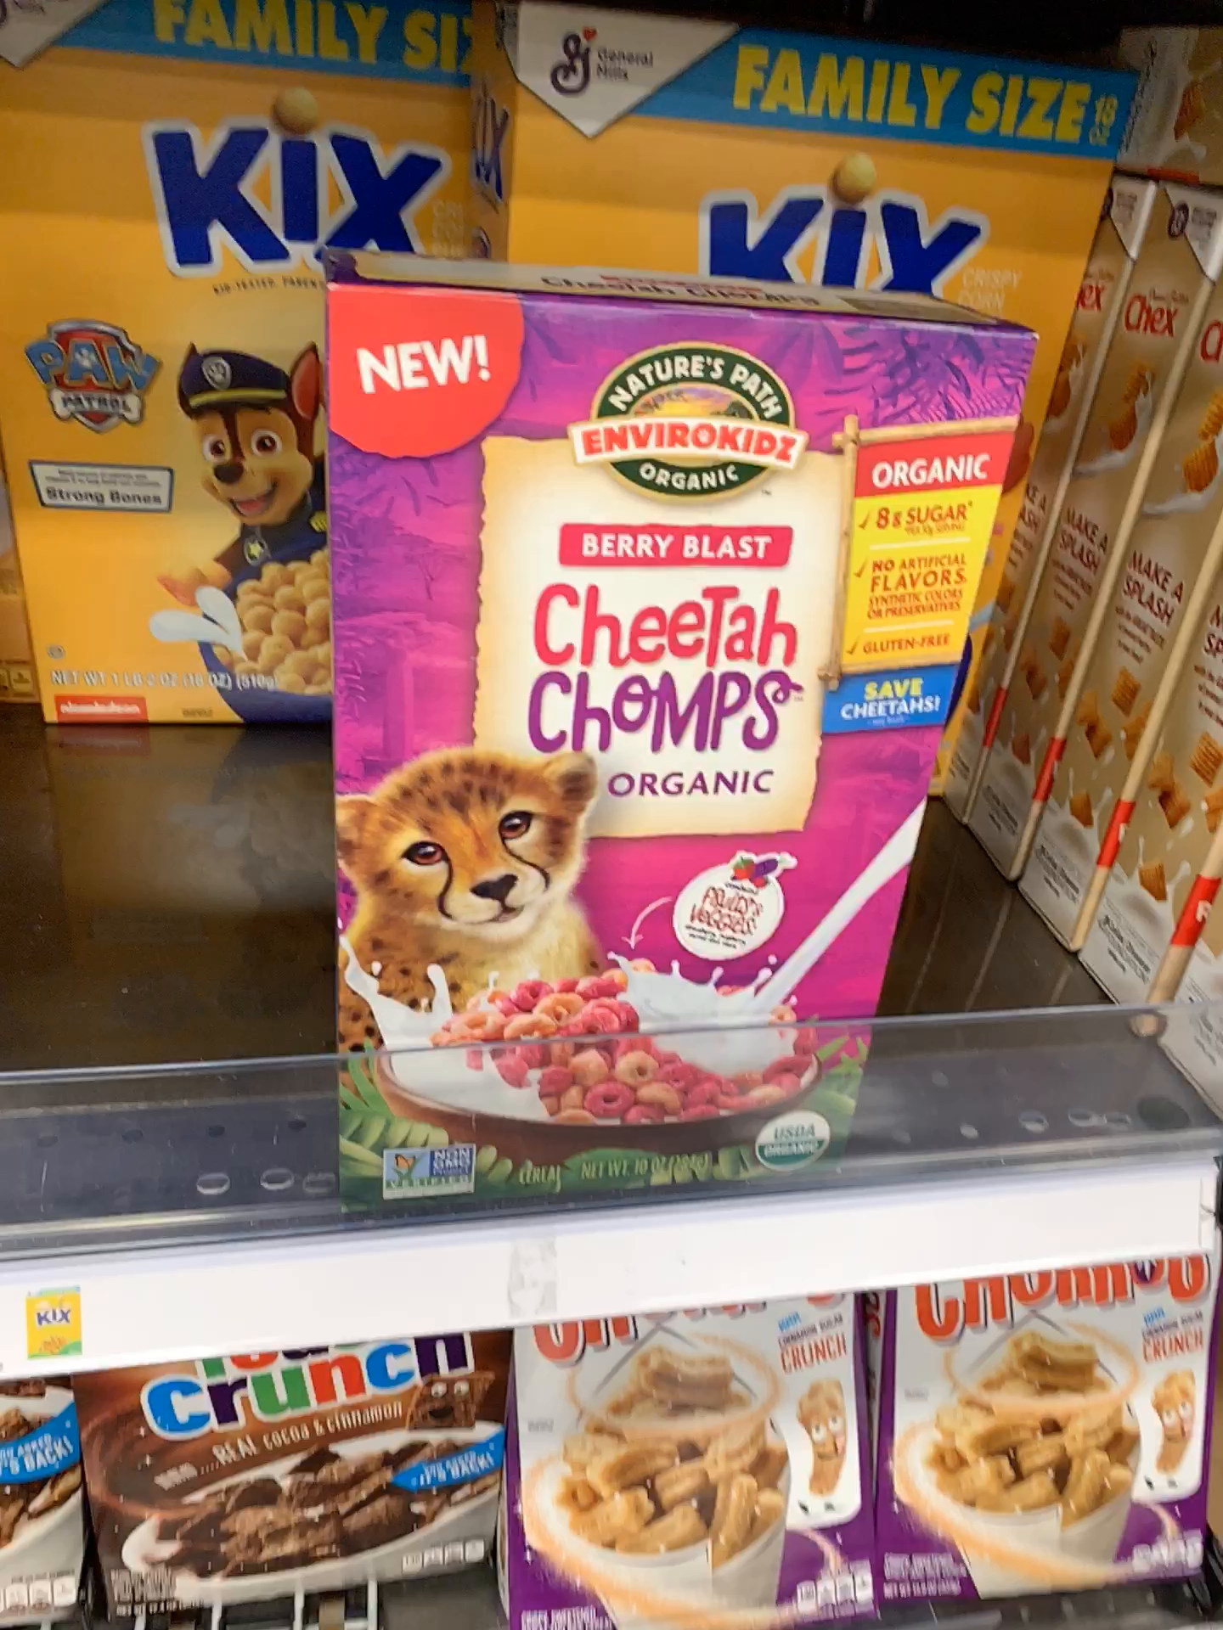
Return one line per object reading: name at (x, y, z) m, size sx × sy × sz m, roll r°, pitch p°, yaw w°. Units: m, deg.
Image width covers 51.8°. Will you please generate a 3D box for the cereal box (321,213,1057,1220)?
cereal box at (0.003, -0.012, 0.355) m, size 0.160 × 0.269 × 0.060 m, roll -1°, pitch 29°, yaw -12°
